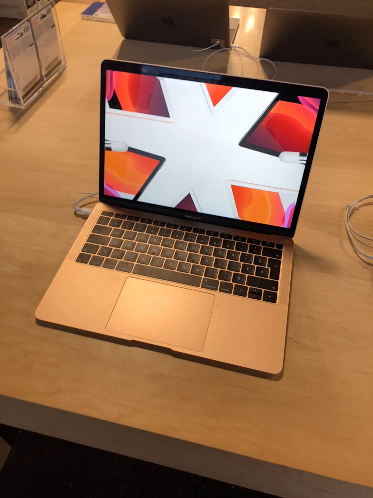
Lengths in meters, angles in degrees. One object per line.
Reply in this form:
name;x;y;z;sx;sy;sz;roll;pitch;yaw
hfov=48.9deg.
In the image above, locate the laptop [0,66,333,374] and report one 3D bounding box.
laptop;-0.001;-0.054;0.496;0.291;0.183;0.284;11;48;9
